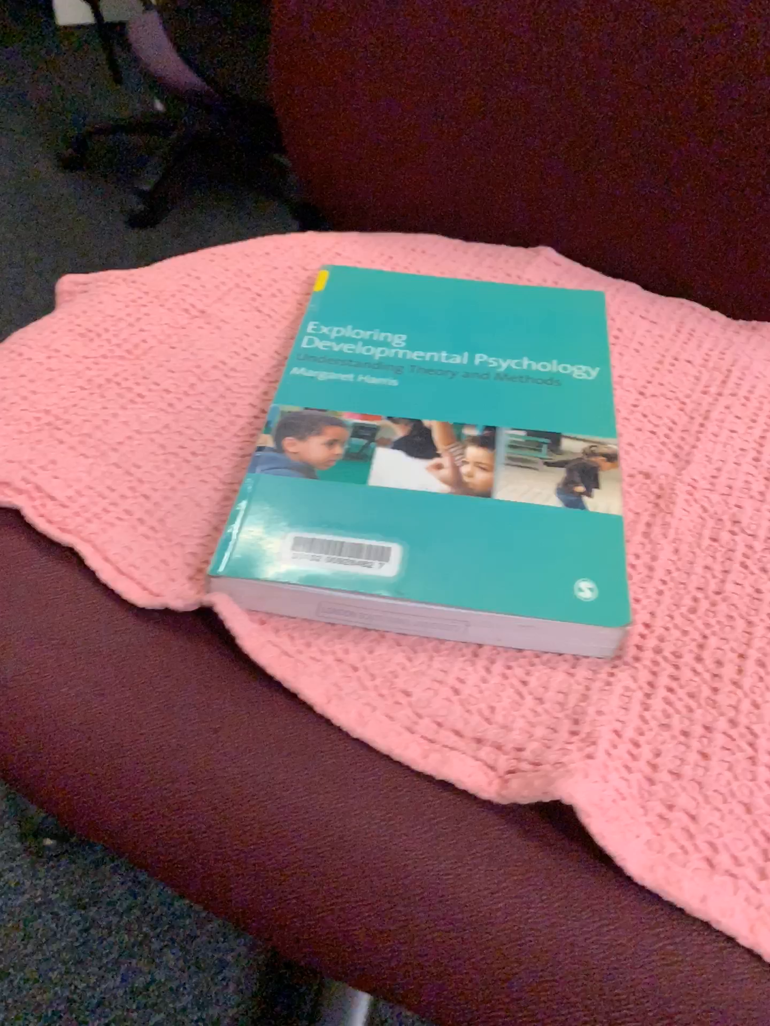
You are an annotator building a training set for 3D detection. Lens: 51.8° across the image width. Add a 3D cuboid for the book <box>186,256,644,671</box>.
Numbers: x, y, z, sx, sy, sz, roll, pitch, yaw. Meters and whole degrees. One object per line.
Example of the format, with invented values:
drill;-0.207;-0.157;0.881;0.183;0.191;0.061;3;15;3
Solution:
book;0.026;-0.046;0.397;0.175;0.030;0.247;7;46;4
